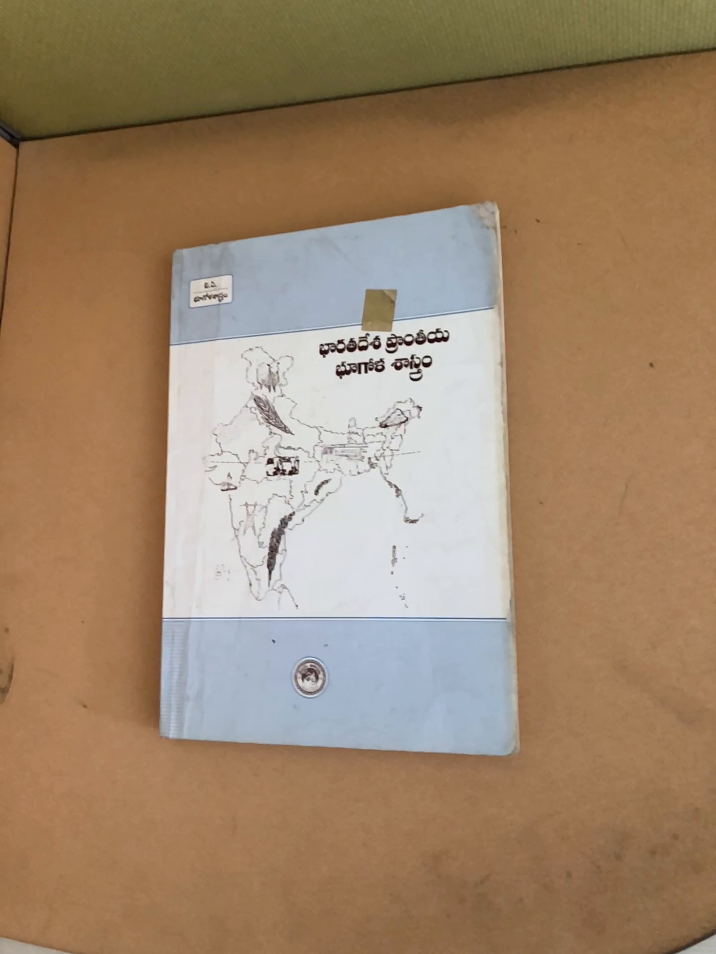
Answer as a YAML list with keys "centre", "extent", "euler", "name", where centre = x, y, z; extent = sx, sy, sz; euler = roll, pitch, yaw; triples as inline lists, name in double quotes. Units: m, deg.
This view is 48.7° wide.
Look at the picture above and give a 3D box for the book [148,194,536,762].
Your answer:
- centre: [-0.011, 0.000, 0.385]
  extent: [0.180, 0.030, 0.250]
  euler: [-3, 81, 18]
  name: "book"
